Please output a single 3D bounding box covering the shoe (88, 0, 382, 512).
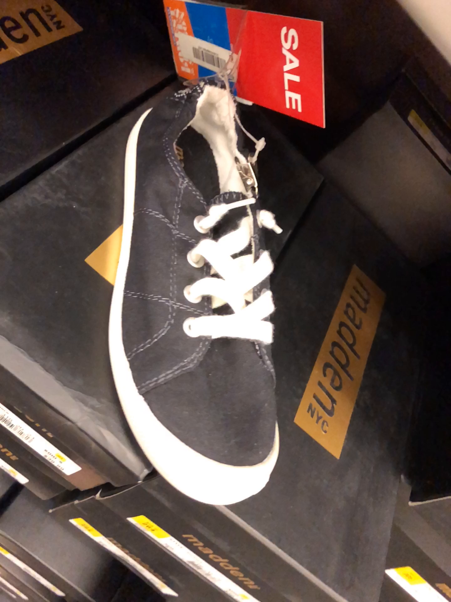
[{"bbox_3d":[-0.010,-0.028,0.258,0.081,0.081,0.234,8,60,-36],"label":"shoe"}]
